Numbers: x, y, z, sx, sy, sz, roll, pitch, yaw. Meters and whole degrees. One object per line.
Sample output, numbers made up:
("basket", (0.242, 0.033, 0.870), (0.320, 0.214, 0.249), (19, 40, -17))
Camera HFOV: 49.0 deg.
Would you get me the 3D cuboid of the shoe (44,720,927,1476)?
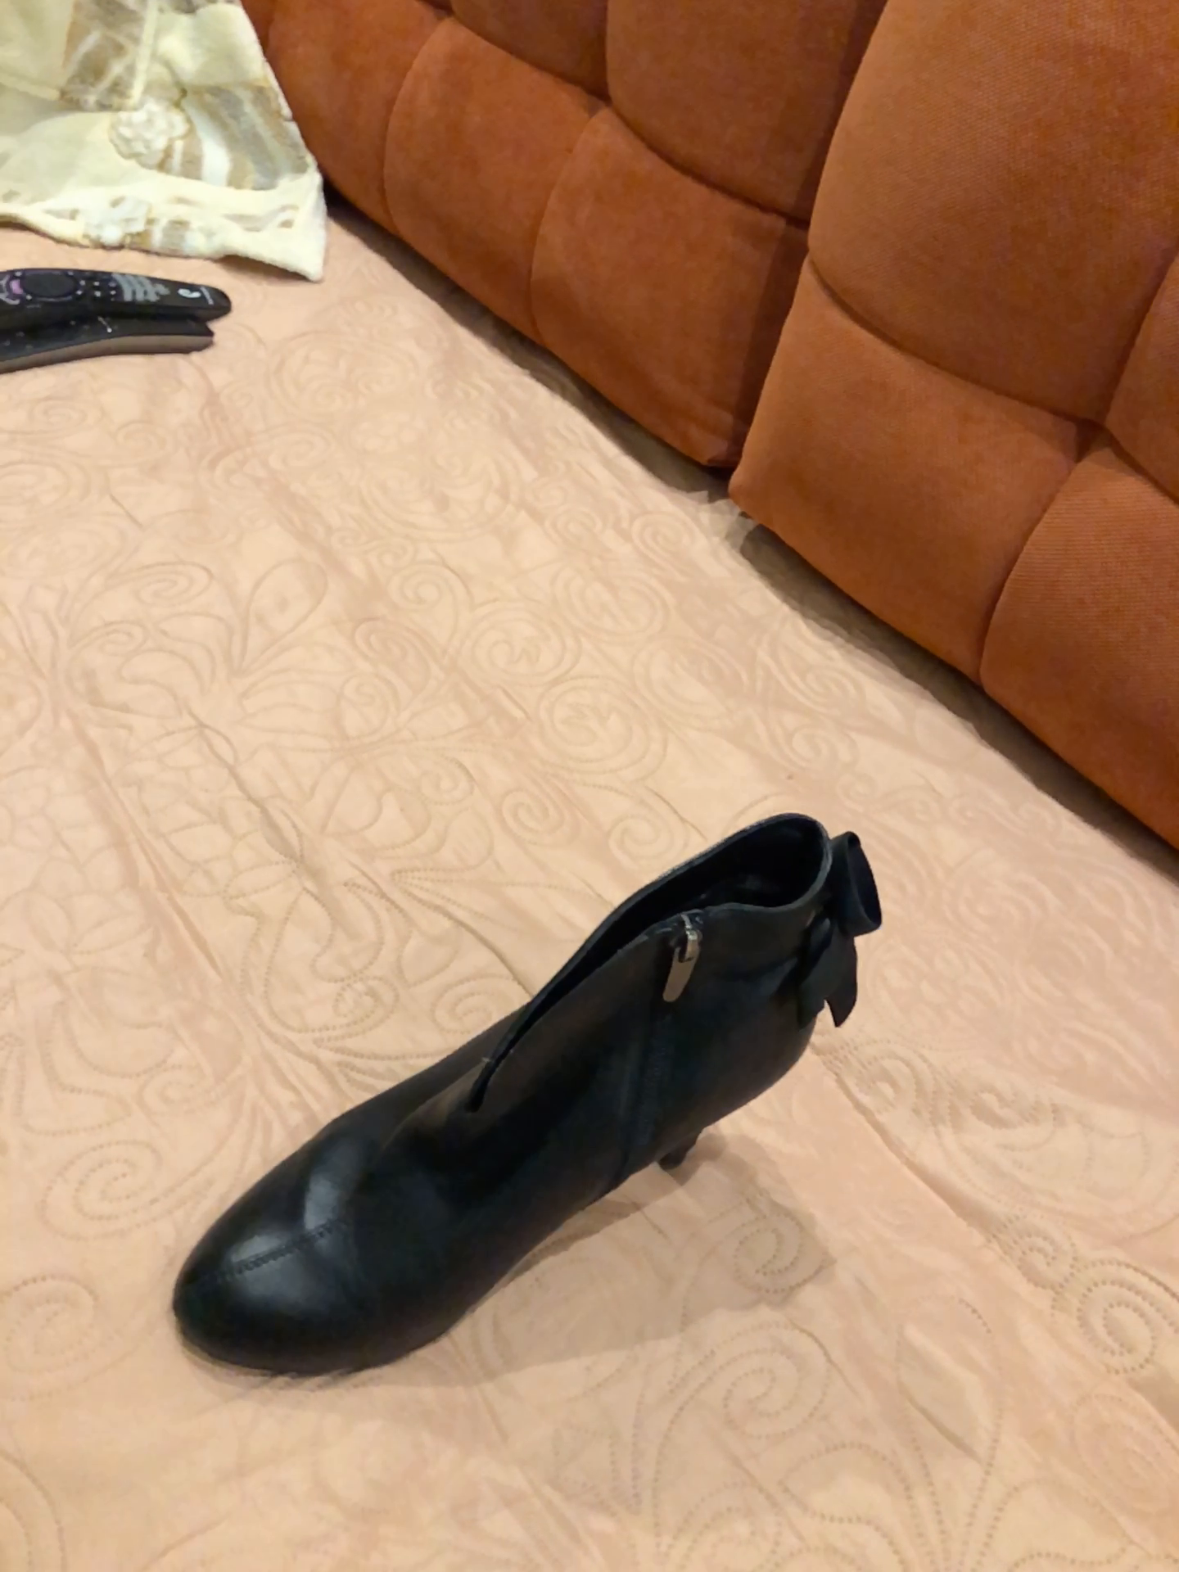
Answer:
("shoe", (-0.033, 0.096, 0.411), (0.221, 0.169, 0.096), (-15, 50, -22))
